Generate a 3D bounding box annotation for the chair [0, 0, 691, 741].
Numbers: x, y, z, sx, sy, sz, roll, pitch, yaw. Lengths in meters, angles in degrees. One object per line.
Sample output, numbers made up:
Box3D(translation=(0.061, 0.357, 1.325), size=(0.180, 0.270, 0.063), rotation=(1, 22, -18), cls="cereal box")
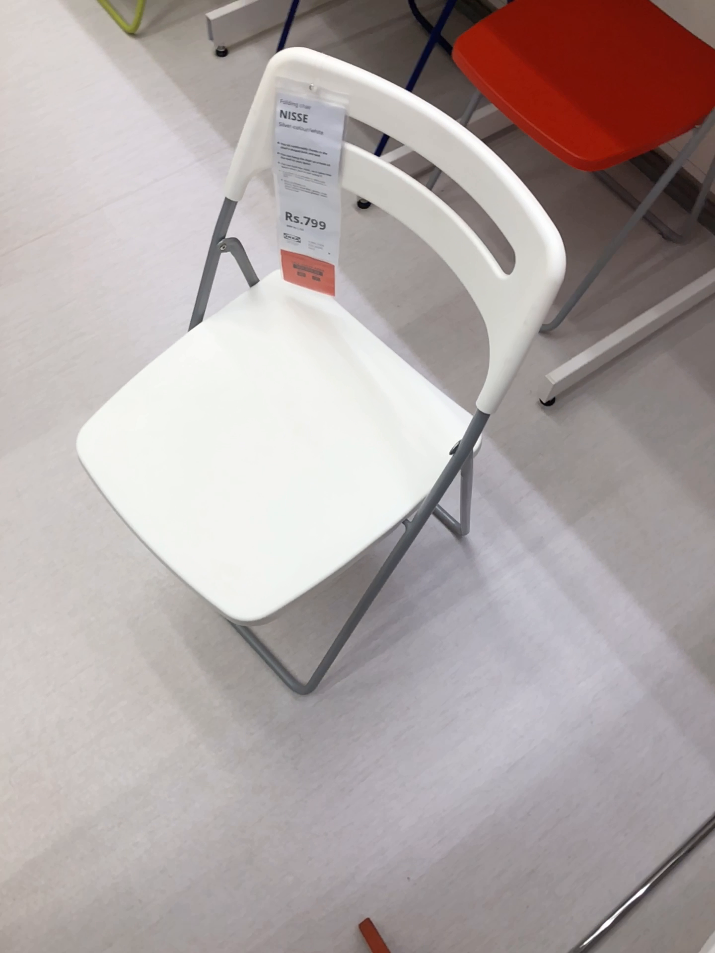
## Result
Box3D(translation=(-0.067, -0.080, 1.022), size=(0.501, 0.668, 0.541), rotation=(43, 70, 16), cls="chair")
